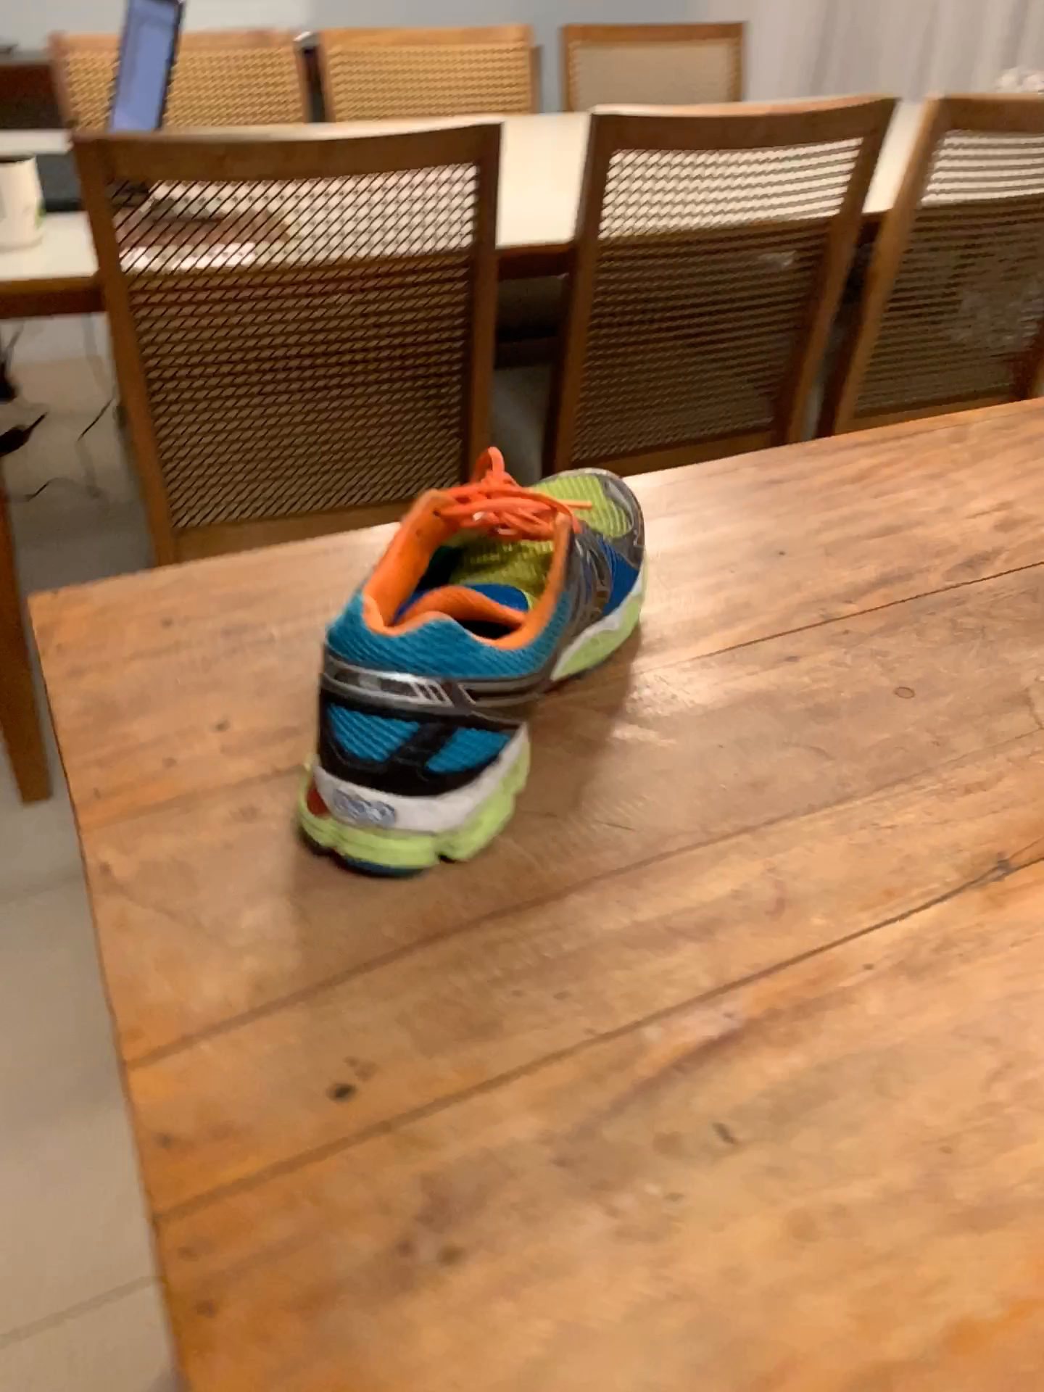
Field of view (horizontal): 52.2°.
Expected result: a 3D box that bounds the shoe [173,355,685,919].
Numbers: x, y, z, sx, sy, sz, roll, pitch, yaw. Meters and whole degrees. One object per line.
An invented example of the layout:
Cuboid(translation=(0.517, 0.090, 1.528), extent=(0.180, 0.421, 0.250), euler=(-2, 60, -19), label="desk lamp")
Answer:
Cuboid(translation=(-0.018, -0.055, 0.508), extent=(0.125, 0.109, 0.302), euler=(11, 37, 14), label="shoe")
